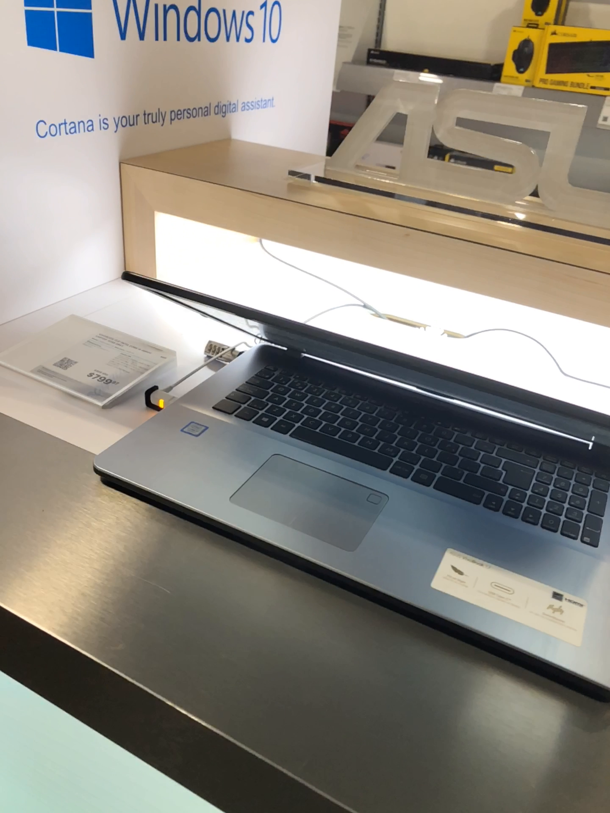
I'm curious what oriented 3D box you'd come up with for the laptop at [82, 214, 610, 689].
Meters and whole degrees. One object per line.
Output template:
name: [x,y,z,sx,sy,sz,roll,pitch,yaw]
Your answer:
laptop: [0.073,-0.012,0.525,0.391,0.144,0.260,19,34,21]
